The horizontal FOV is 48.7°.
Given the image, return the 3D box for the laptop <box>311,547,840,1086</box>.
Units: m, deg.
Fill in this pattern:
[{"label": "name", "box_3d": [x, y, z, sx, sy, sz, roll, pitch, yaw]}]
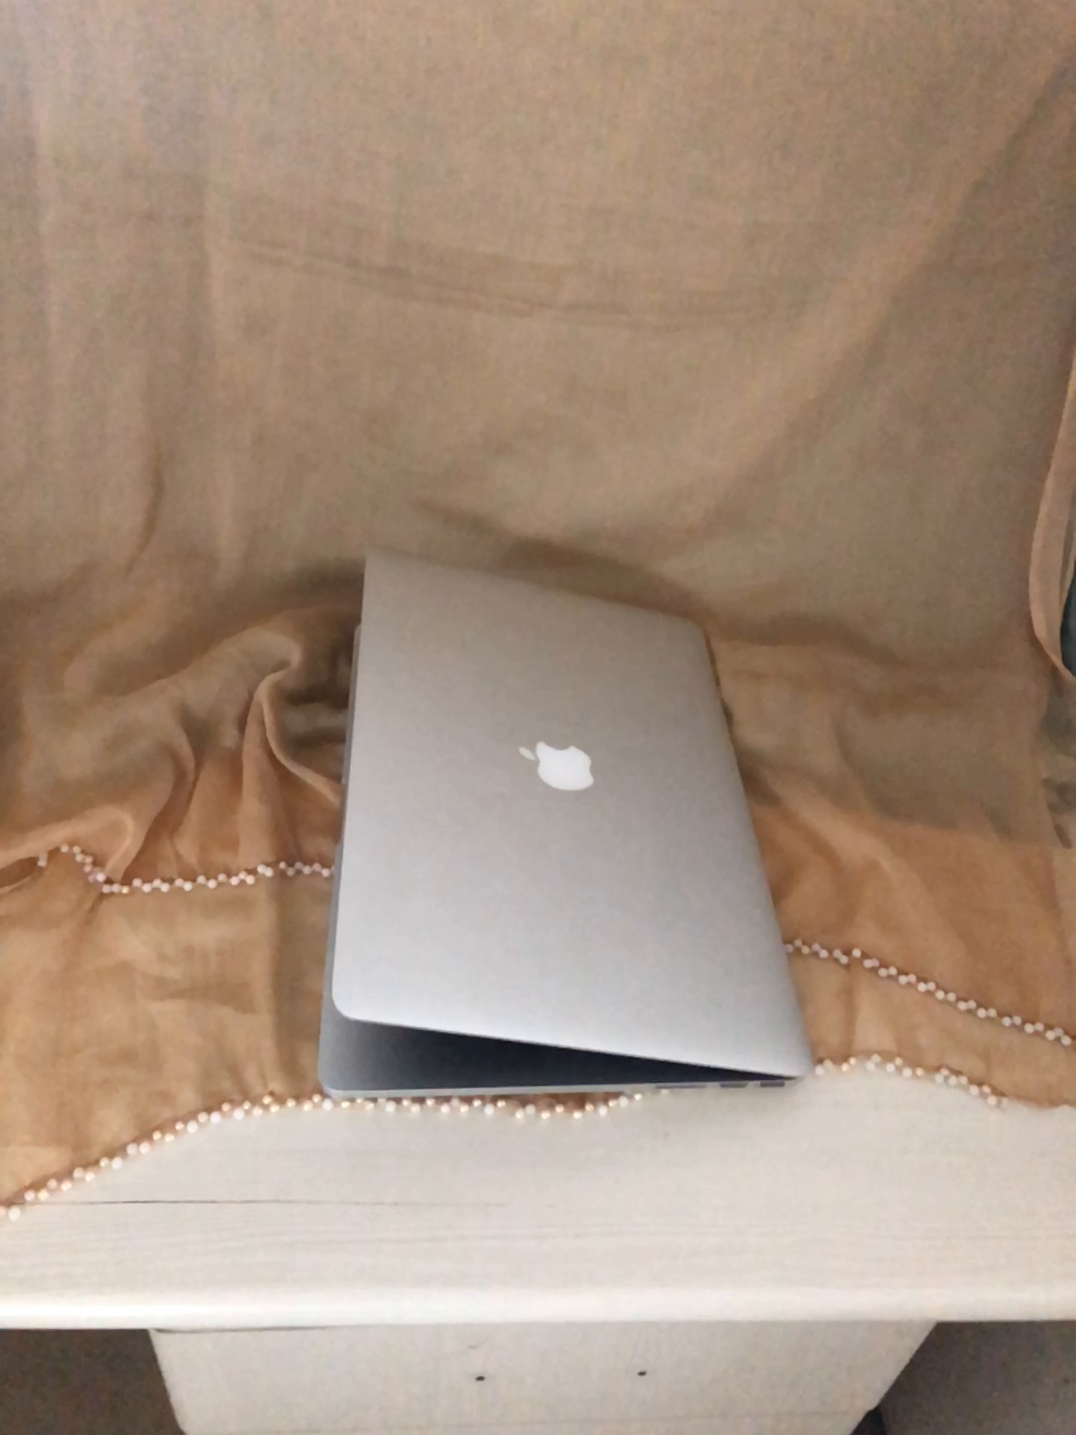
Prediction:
[{"label": "laptop", "box_3d": [0.006, 0.034, 0.683, 0.239, 0.063, 0.354, 1, 43, -5]}]
